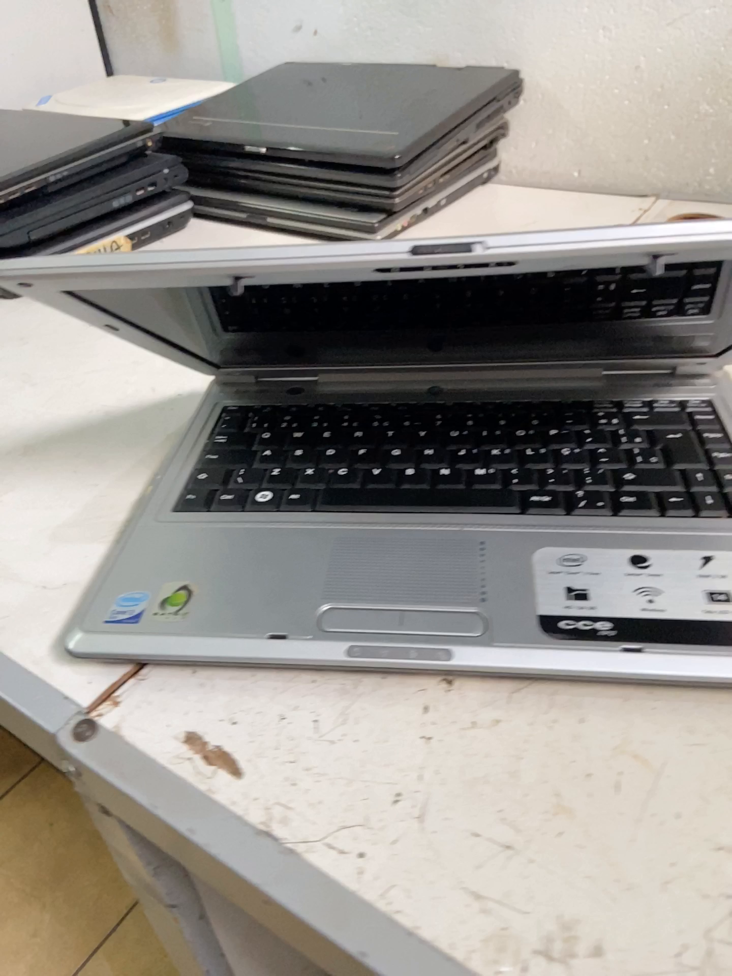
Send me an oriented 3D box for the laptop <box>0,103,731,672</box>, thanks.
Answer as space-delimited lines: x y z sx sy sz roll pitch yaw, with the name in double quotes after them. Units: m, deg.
0.040 -0.064 0.362 0.335 0.153 0.244 0 37 8 "laptop"
